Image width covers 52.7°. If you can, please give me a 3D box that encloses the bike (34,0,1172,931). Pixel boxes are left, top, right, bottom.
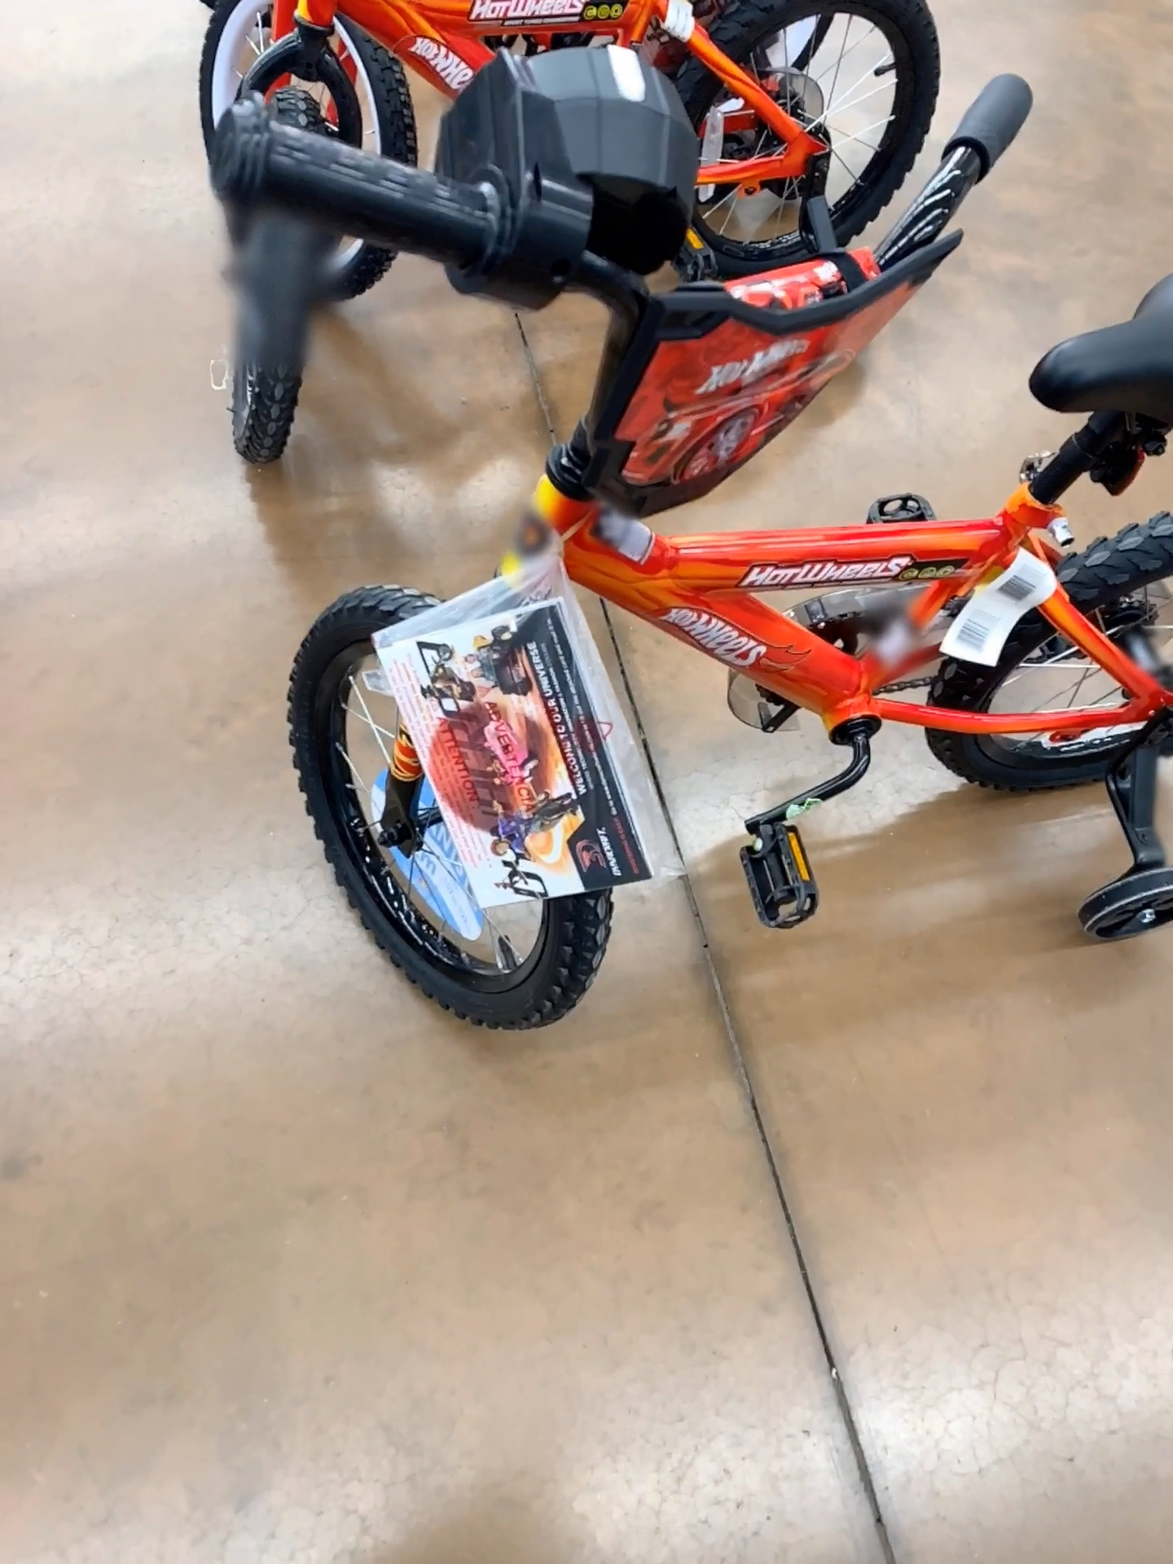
[{"bbox_3d":[0.191,-0.284,1.023,0.994,0.822,0.504,-6,59,2],"label":"bike"}]
